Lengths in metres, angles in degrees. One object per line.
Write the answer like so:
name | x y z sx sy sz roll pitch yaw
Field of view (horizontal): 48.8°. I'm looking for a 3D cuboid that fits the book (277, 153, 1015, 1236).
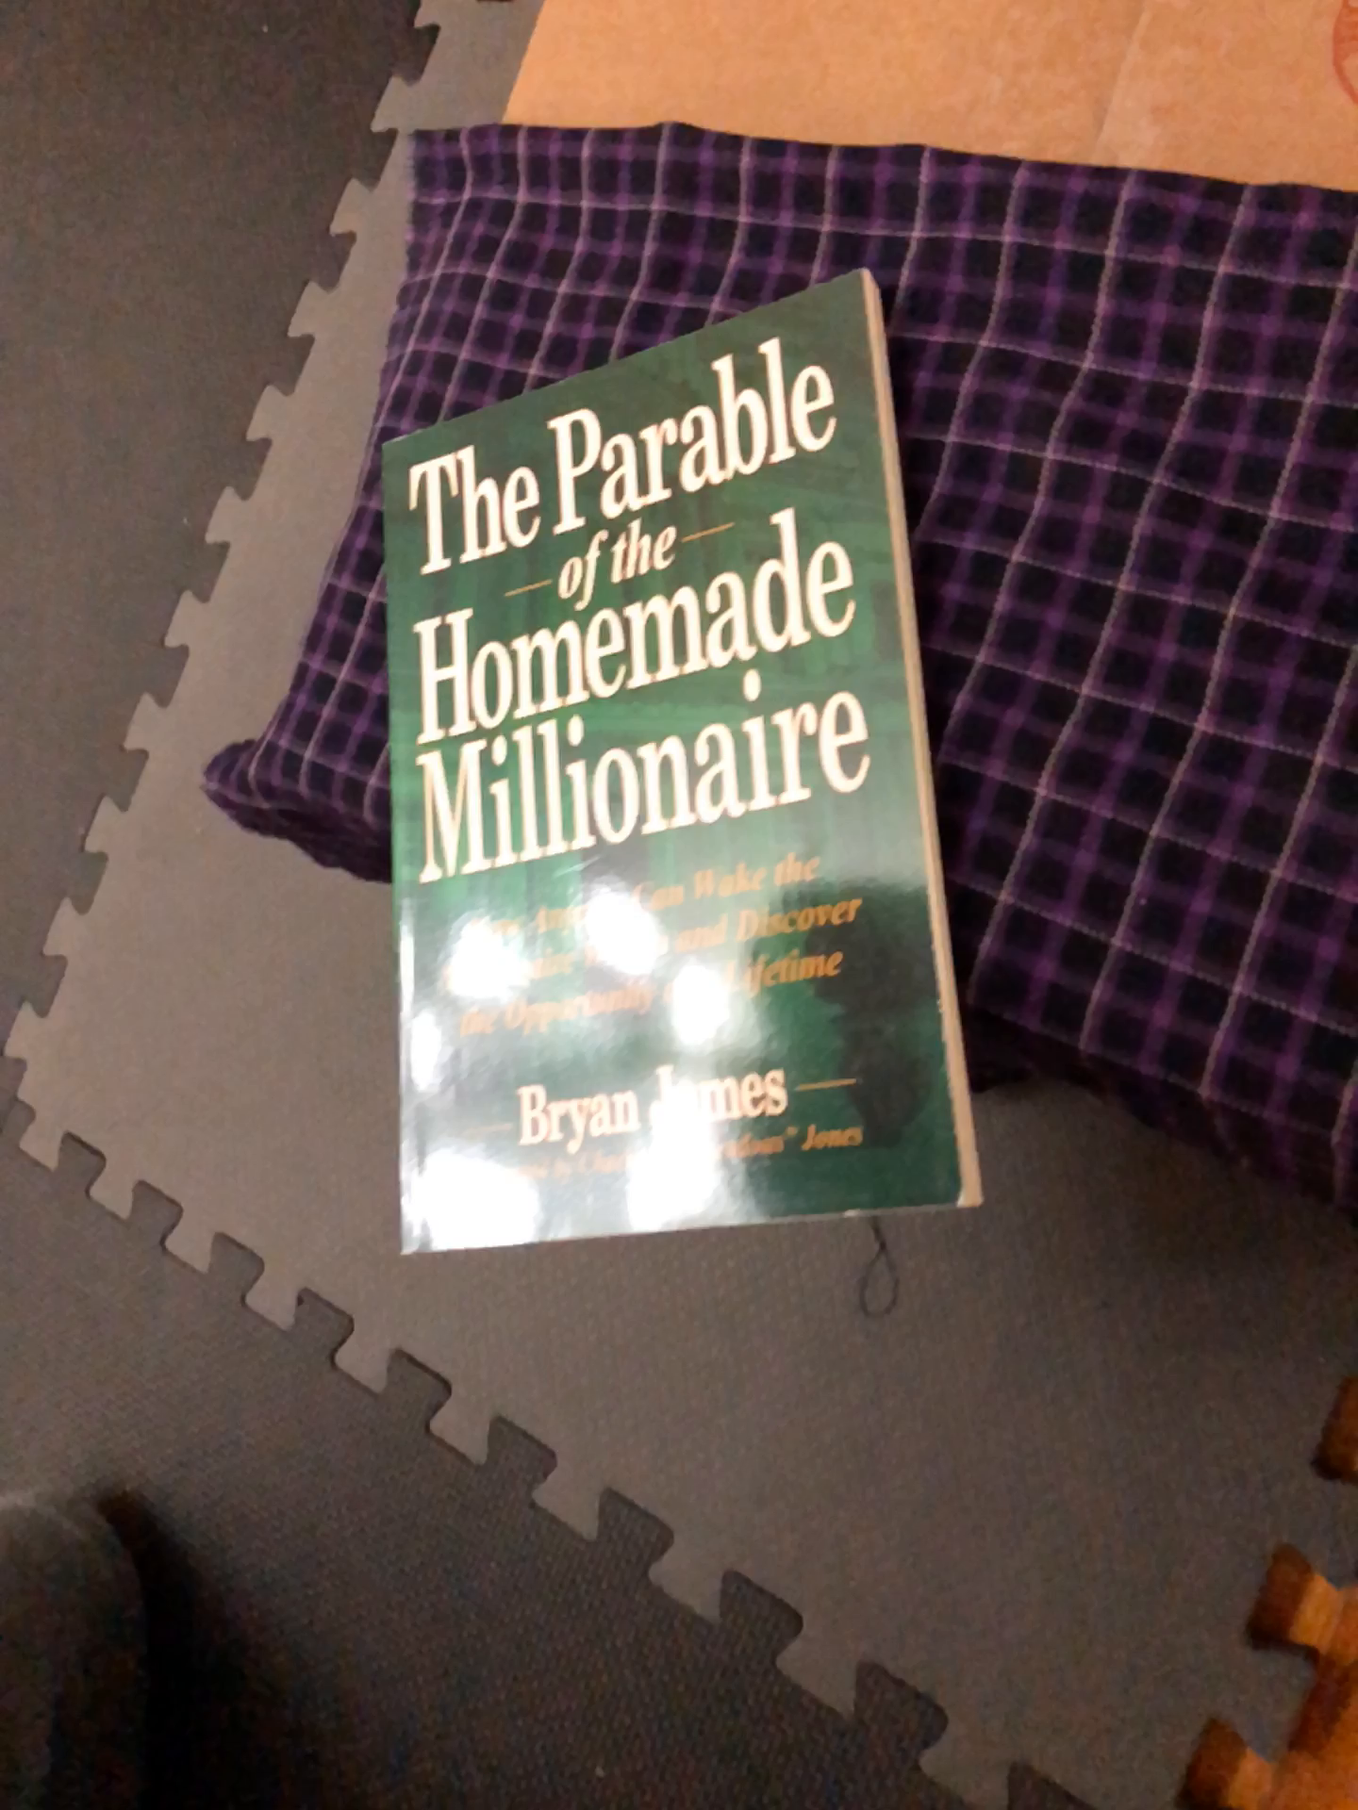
book | -0.020 -0.040 0.331 0.160 0.020 0.210 -11 74 26
